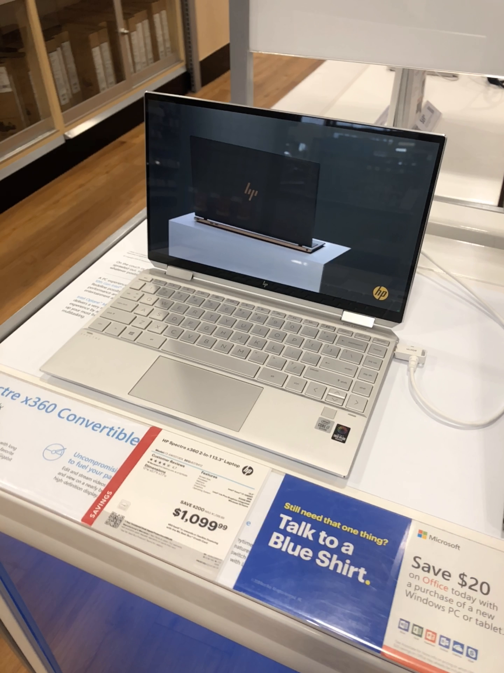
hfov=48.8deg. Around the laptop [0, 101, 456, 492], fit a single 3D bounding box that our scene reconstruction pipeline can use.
[{"bbox_3d":[-0.014,-0.060,0.489,0.303,0.184,0.228,16,43,19],"label":"laptop"}]
